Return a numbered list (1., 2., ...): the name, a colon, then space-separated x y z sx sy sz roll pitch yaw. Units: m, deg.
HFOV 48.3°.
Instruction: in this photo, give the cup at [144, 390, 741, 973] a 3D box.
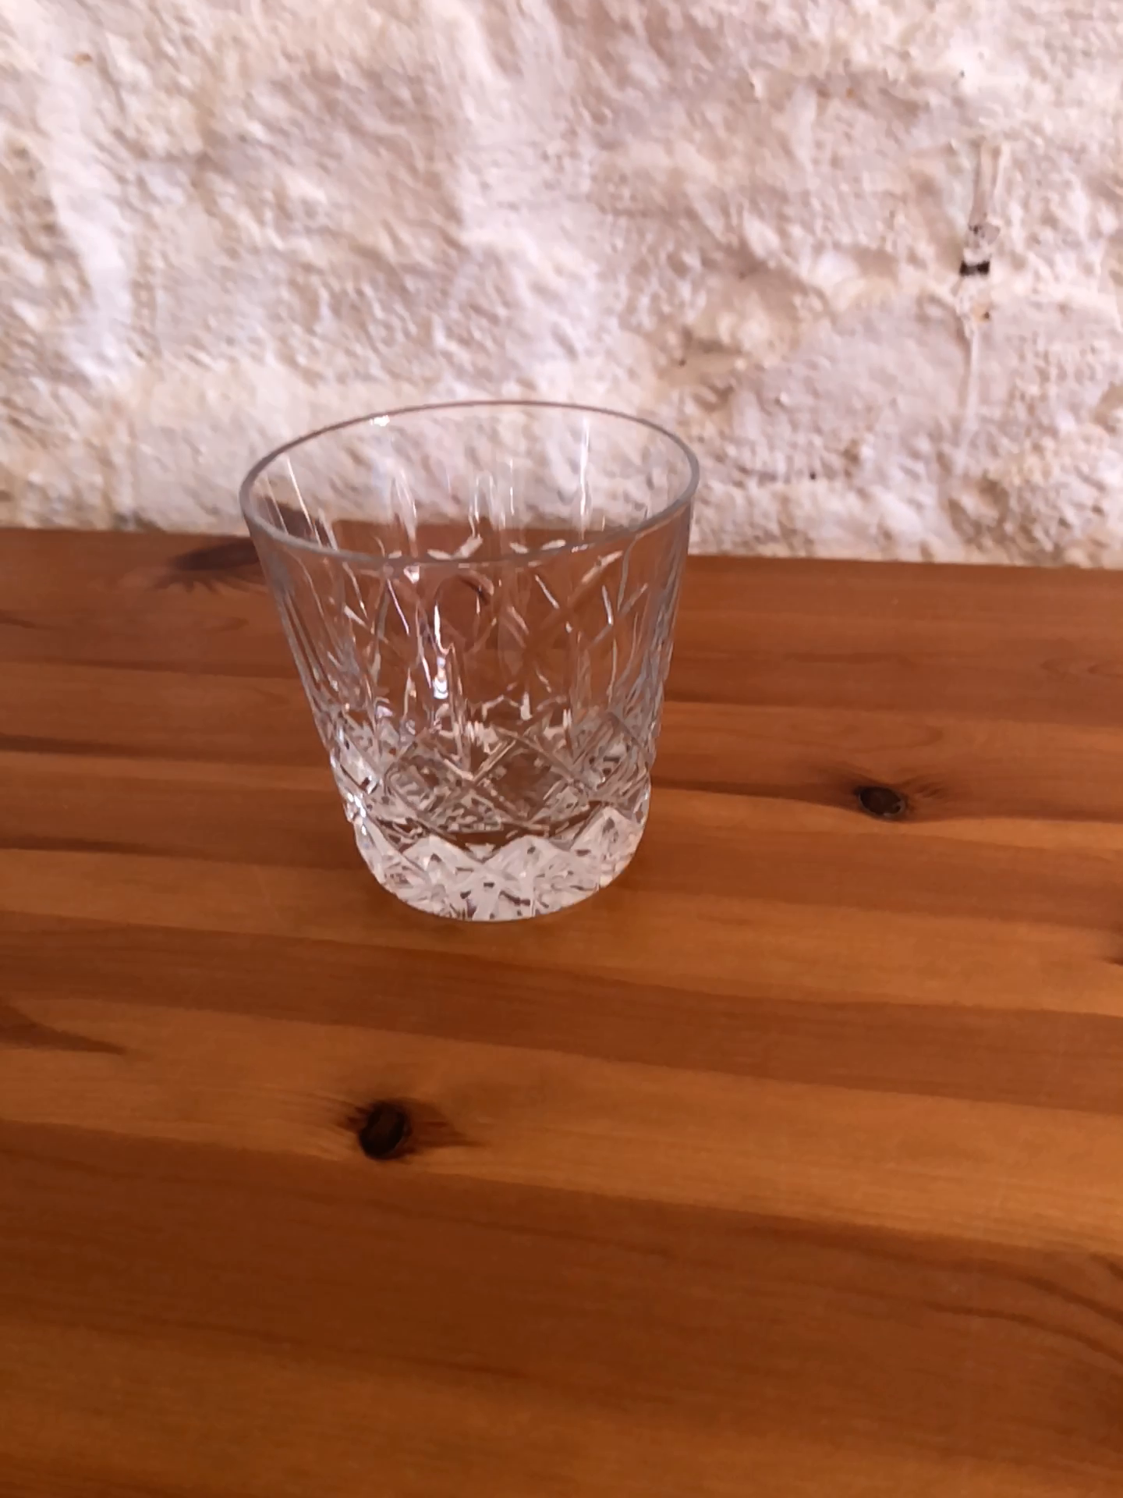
1. cup: -0.013 -0.017 0.223 0.077 0.068 0.077 -2 33 1
